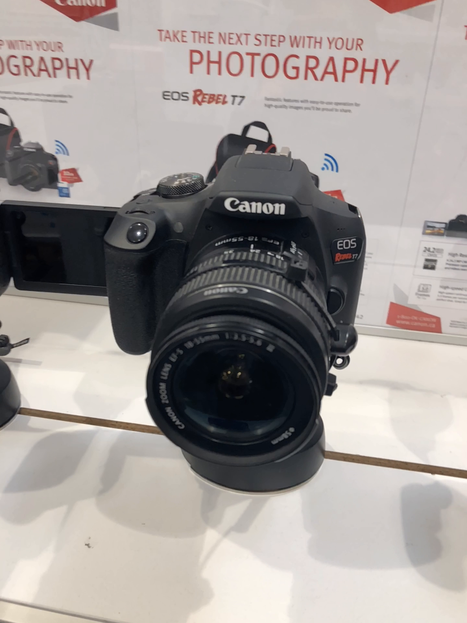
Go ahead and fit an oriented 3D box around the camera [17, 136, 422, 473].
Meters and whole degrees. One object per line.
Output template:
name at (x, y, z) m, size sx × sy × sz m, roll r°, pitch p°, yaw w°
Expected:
camera at (0.000, -0.015, 0.240) m, size 0.130 × 0.099 × 0.121 m, roll 5°, pitch 30°, yaw 6°
